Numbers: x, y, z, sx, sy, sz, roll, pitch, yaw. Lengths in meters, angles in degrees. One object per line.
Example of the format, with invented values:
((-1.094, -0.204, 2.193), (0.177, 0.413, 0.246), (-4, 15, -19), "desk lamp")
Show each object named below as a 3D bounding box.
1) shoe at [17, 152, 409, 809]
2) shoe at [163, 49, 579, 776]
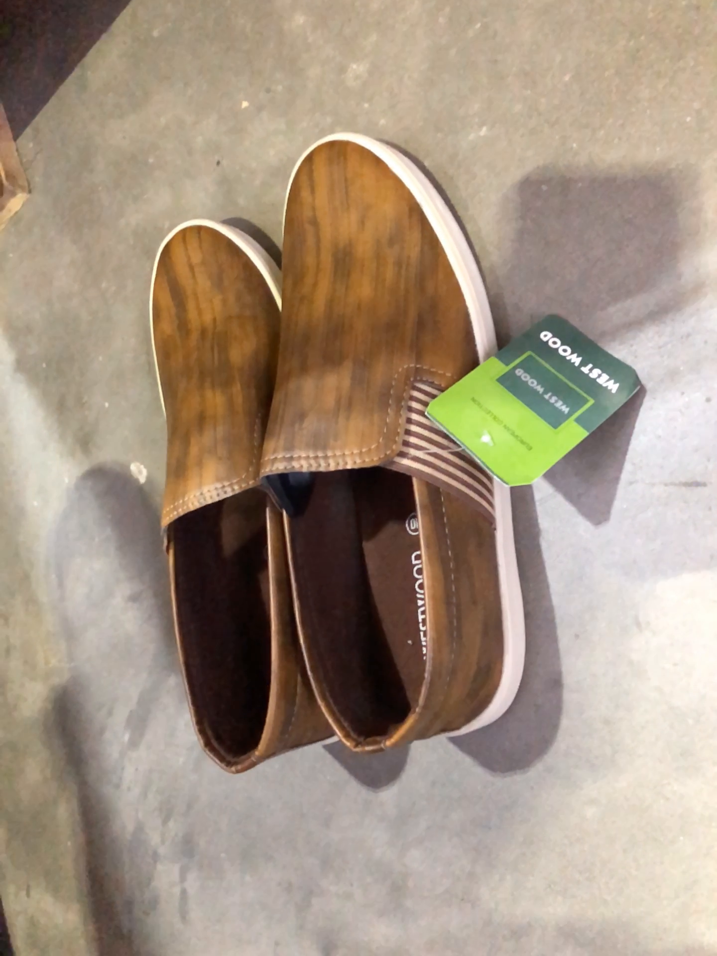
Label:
((-0.079, 0.001, 0.411), (0.100, 0.100, 0.290), (-22, 77, 32), "shoe")
((0.003, -0.023, 0.377), (0.110, 0.100, 0.290), (-16, 80, 33), "shoe")
